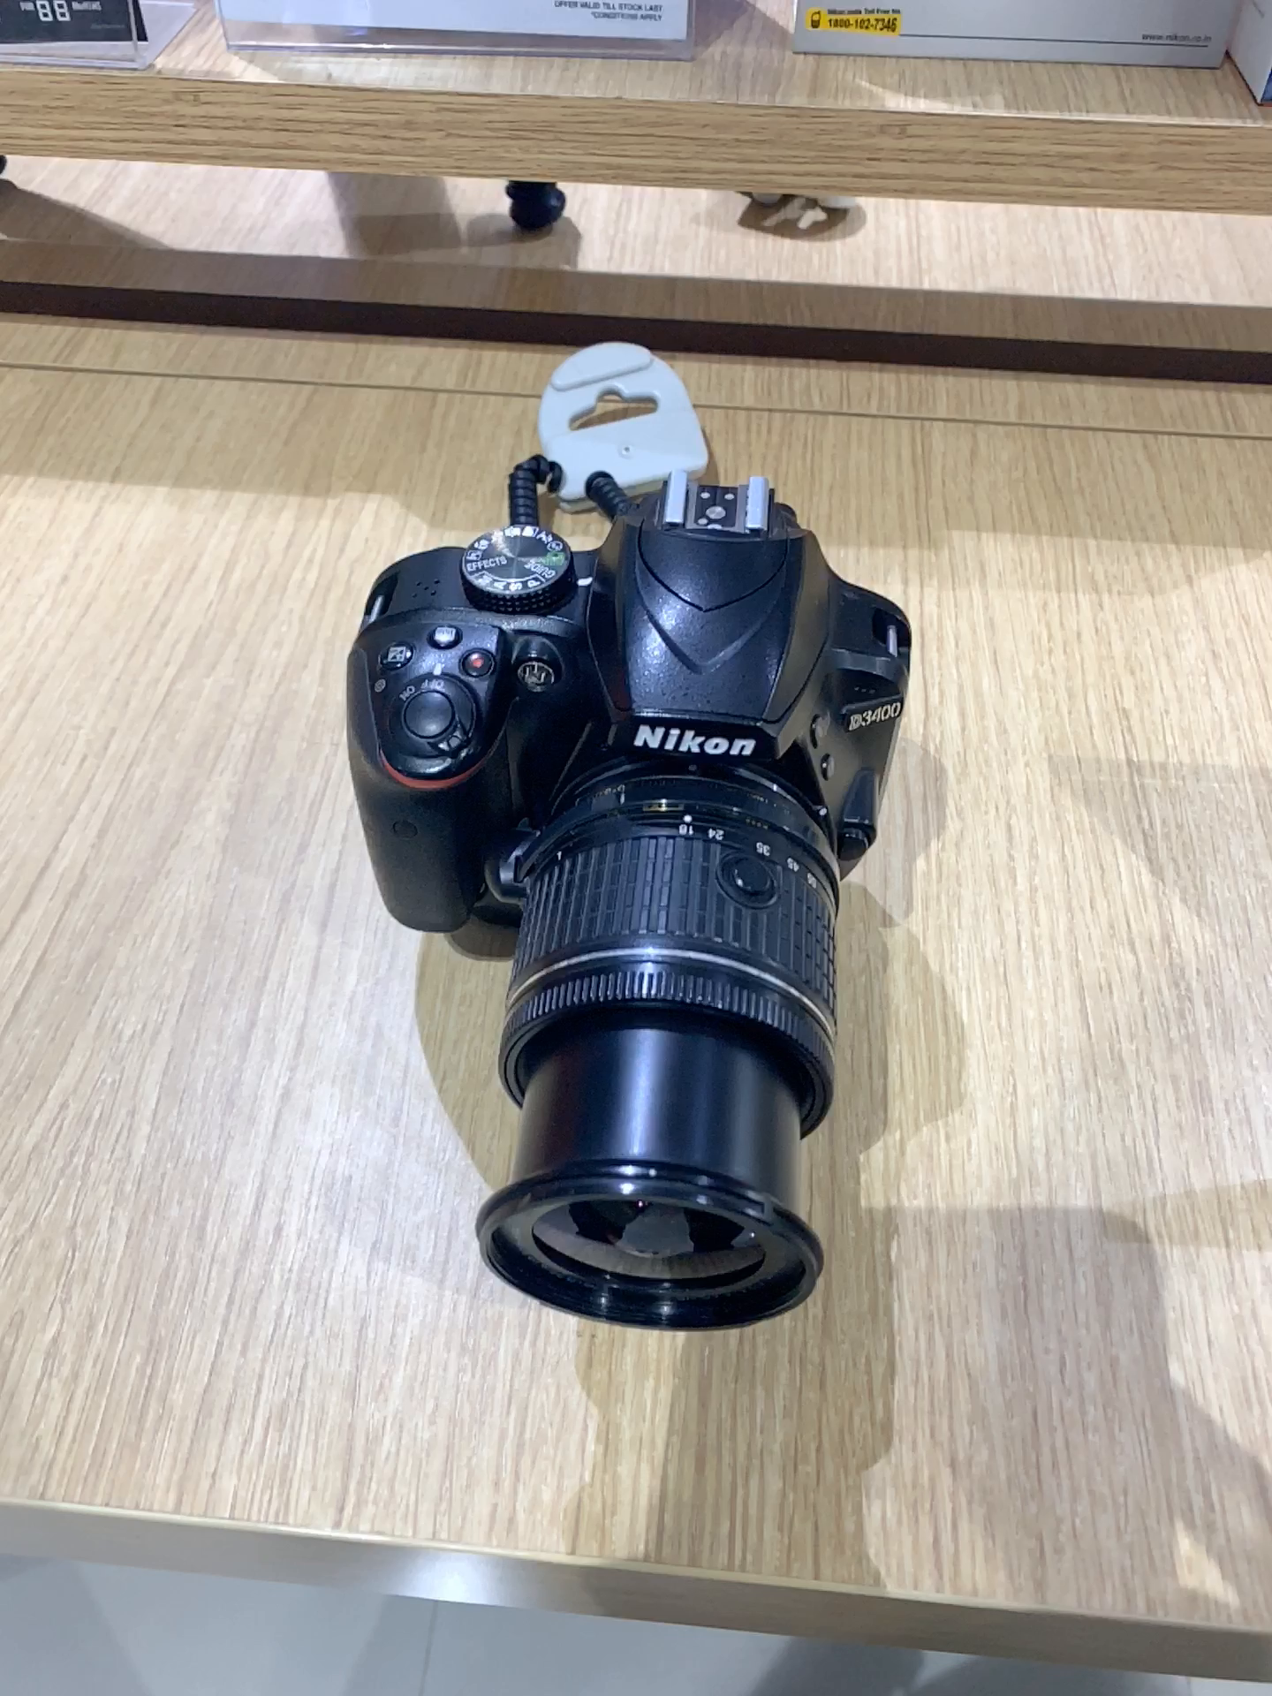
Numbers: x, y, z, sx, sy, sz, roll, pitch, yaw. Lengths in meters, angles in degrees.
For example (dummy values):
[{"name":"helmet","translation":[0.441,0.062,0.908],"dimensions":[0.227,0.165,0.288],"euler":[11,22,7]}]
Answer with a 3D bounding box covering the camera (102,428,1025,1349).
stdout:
[{"name":"camera","translation":[-0.005,0.004,0.250],"dimensions":[0.120,0.094,0.140],"euler":[3,51,3]}]
